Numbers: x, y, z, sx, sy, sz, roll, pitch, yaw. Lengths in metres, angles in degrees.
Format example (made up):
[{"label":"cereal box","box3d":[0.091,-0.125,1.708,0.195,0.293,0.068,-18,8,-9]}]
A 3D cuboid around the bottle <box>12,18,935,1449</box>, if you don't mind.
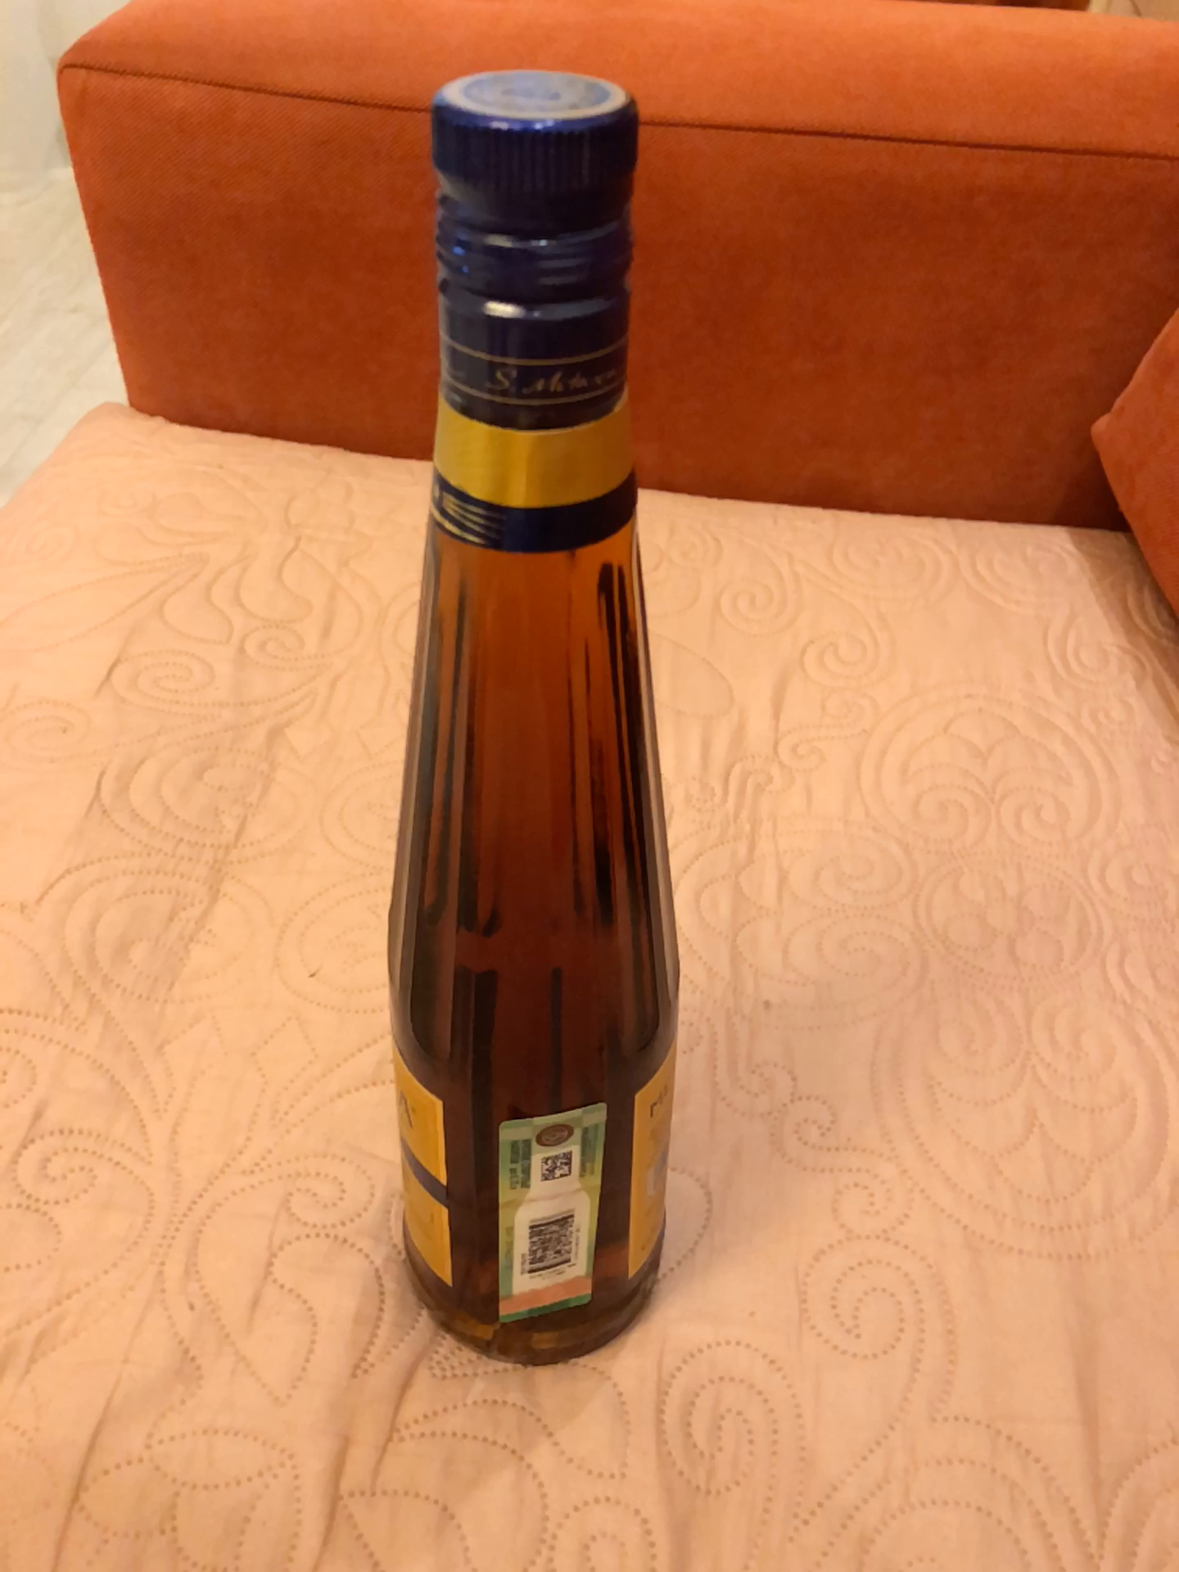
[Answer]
[{"label":"bottle","box3d":[-0.012,0.025,0.283,0.090,0.308,0.101,16,47,13]}]
